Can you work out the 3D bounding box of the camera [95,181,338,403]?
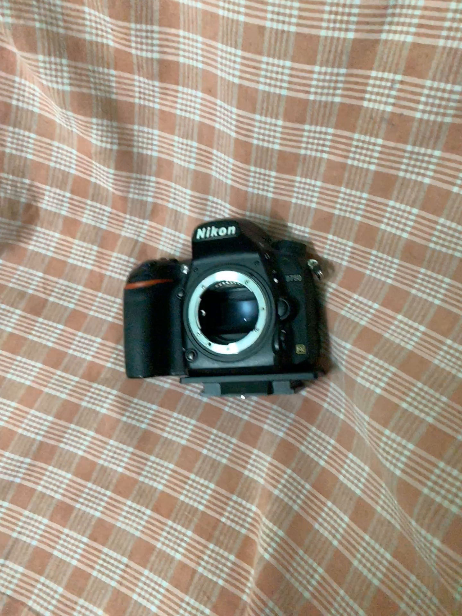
[{"bbox_3d":[-0.006,-0.004,0.335,0.145,0.085,0.125,-5,84,15],"label":"camera"}]
